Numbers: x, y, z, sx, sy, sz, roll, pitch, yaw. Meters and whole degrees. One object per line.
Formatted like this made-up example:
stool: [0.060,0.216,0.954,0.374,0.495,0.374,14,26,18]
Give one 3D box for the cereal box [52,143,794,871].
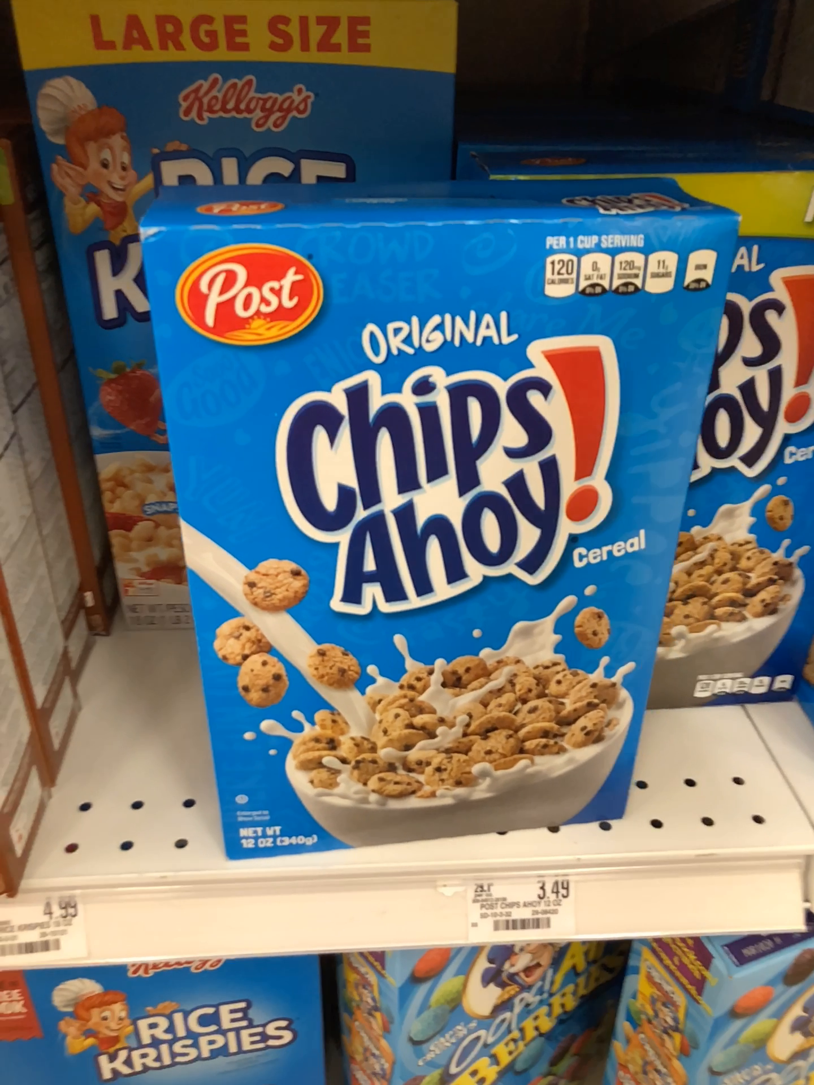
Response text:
cereal box: [0.003,-0.004,0.342,0.200,0.259,0.080,-4,33,-7]
